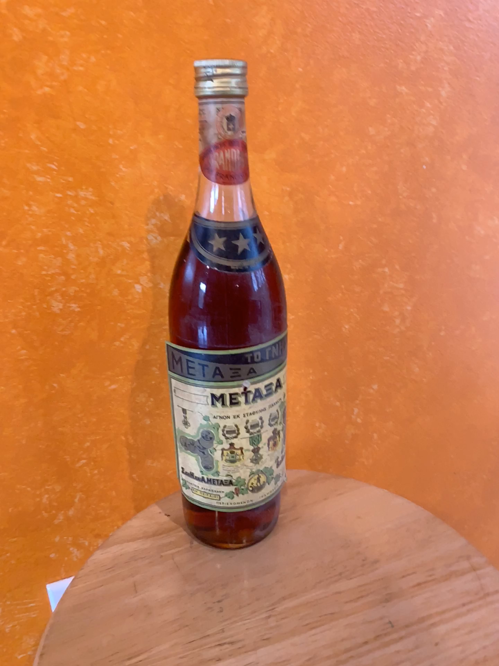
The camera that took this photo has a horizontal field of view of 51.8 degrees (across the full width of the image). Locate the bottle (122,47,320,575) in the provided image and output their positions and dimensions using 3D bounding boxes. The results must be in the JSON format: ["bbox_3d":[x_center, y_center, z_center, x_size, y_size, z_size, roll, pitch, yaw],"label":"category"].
[{"bbox_3d":[-0.019,0.000,0.313,0.080,0.298,0.070,-8,26,-19],"label":"bottle"}]
